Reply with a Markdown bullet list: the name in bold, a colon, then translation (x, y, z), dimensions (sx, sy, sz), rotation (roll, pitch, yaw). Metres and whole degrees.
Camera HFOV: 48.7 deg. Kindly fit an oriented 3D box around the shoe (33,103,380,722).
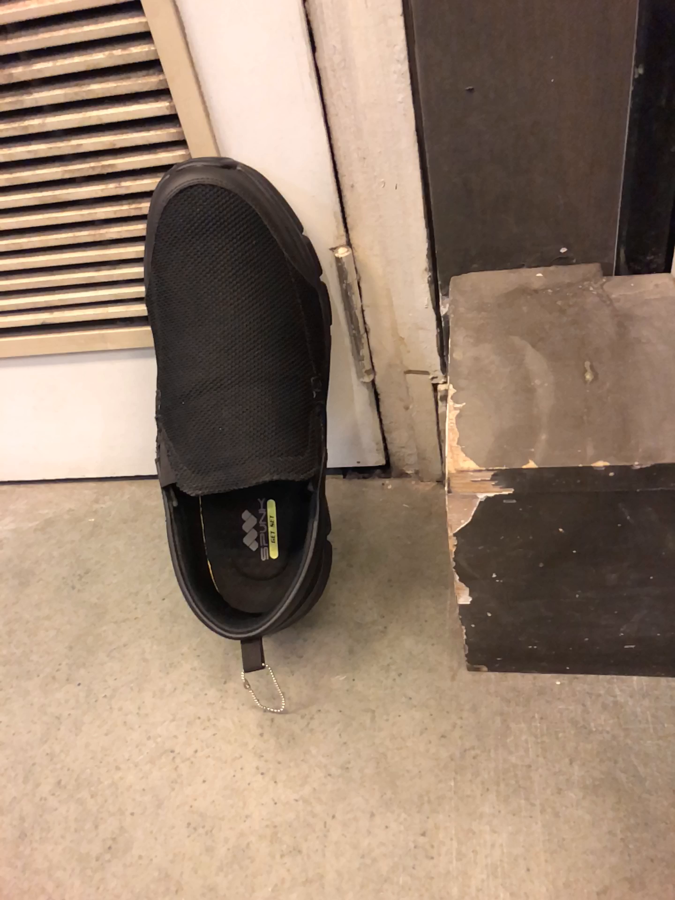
- **shoe**: translation (-0.054, -0.017, 0.418), dimensions (0.111, 0.291, 0.128), rotation (-6, 12, 10)
